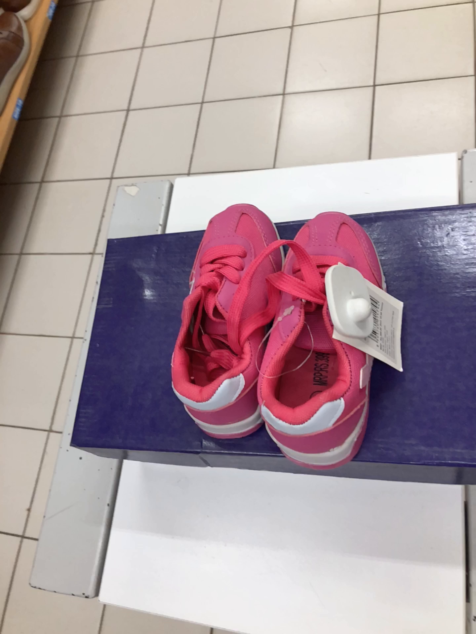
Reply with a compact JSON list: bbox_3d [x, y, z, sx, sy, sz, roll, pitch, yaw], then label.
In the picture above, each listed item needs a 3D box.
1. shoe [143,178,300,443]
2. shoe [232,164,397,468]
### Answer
[{"bbox_3d":[-0.003,-0.001,0.372,0.070,0.090,0.160,-1,70,17],"label":"shoe"},{"bbox_3d":[0.055,0.004,0.325,0.080,0.090,0.160,-1,70,17],"label":"shoe"}]
